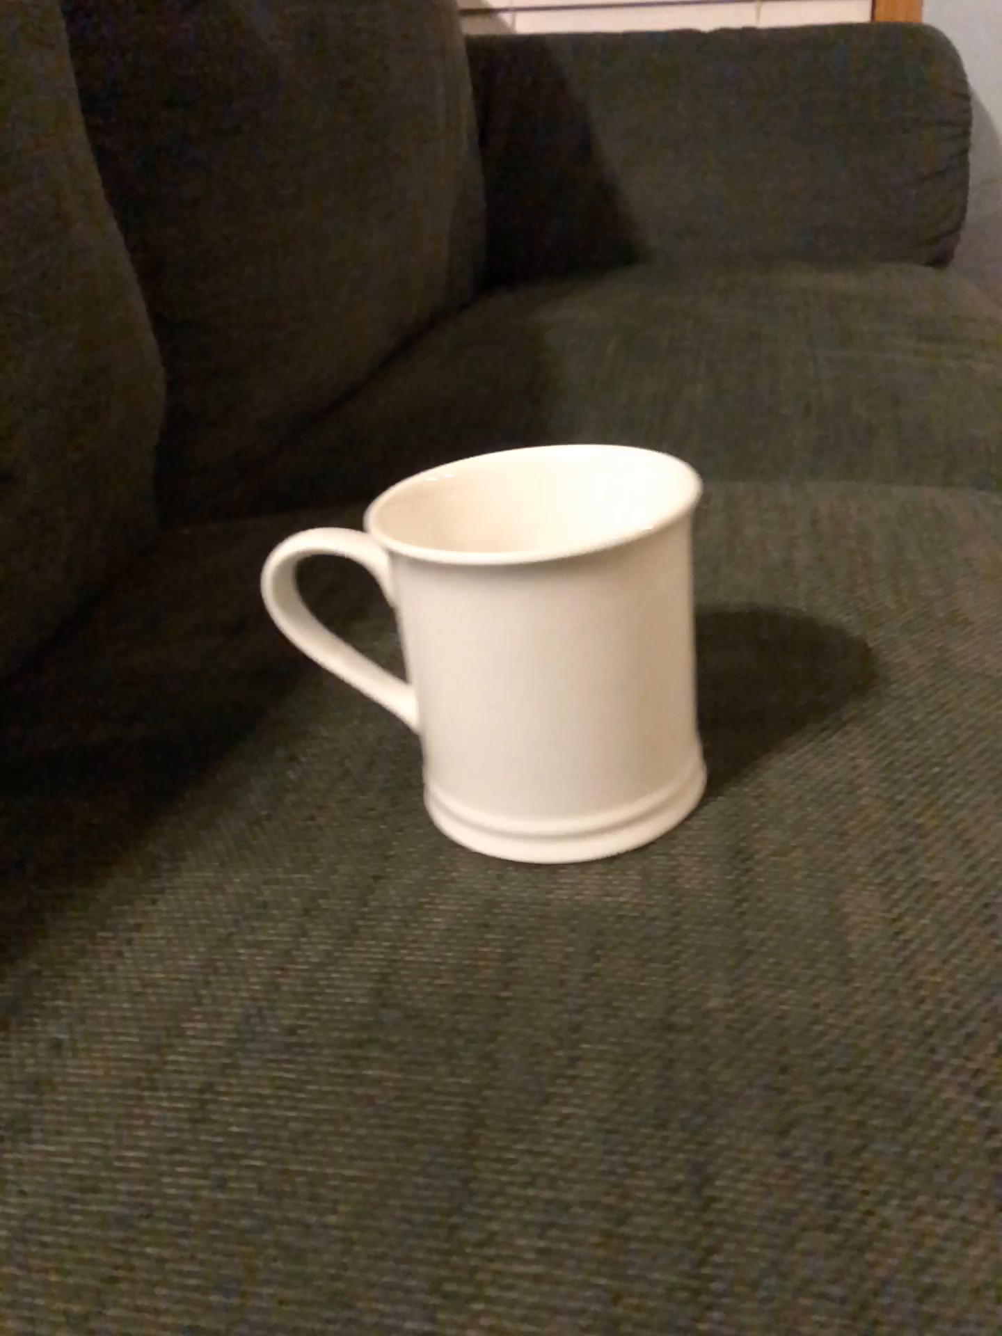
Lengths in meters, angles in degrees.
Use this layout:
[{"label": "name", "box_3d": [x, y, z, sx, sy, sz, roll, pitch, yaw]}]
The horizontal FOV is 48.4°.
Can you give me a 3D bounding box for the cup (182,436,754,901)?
[{"label": "cup", "box_3d": [-0.002, -0.003, 0.338, 0.140, 0.100, 0.100, -2, 27, 5]}]
